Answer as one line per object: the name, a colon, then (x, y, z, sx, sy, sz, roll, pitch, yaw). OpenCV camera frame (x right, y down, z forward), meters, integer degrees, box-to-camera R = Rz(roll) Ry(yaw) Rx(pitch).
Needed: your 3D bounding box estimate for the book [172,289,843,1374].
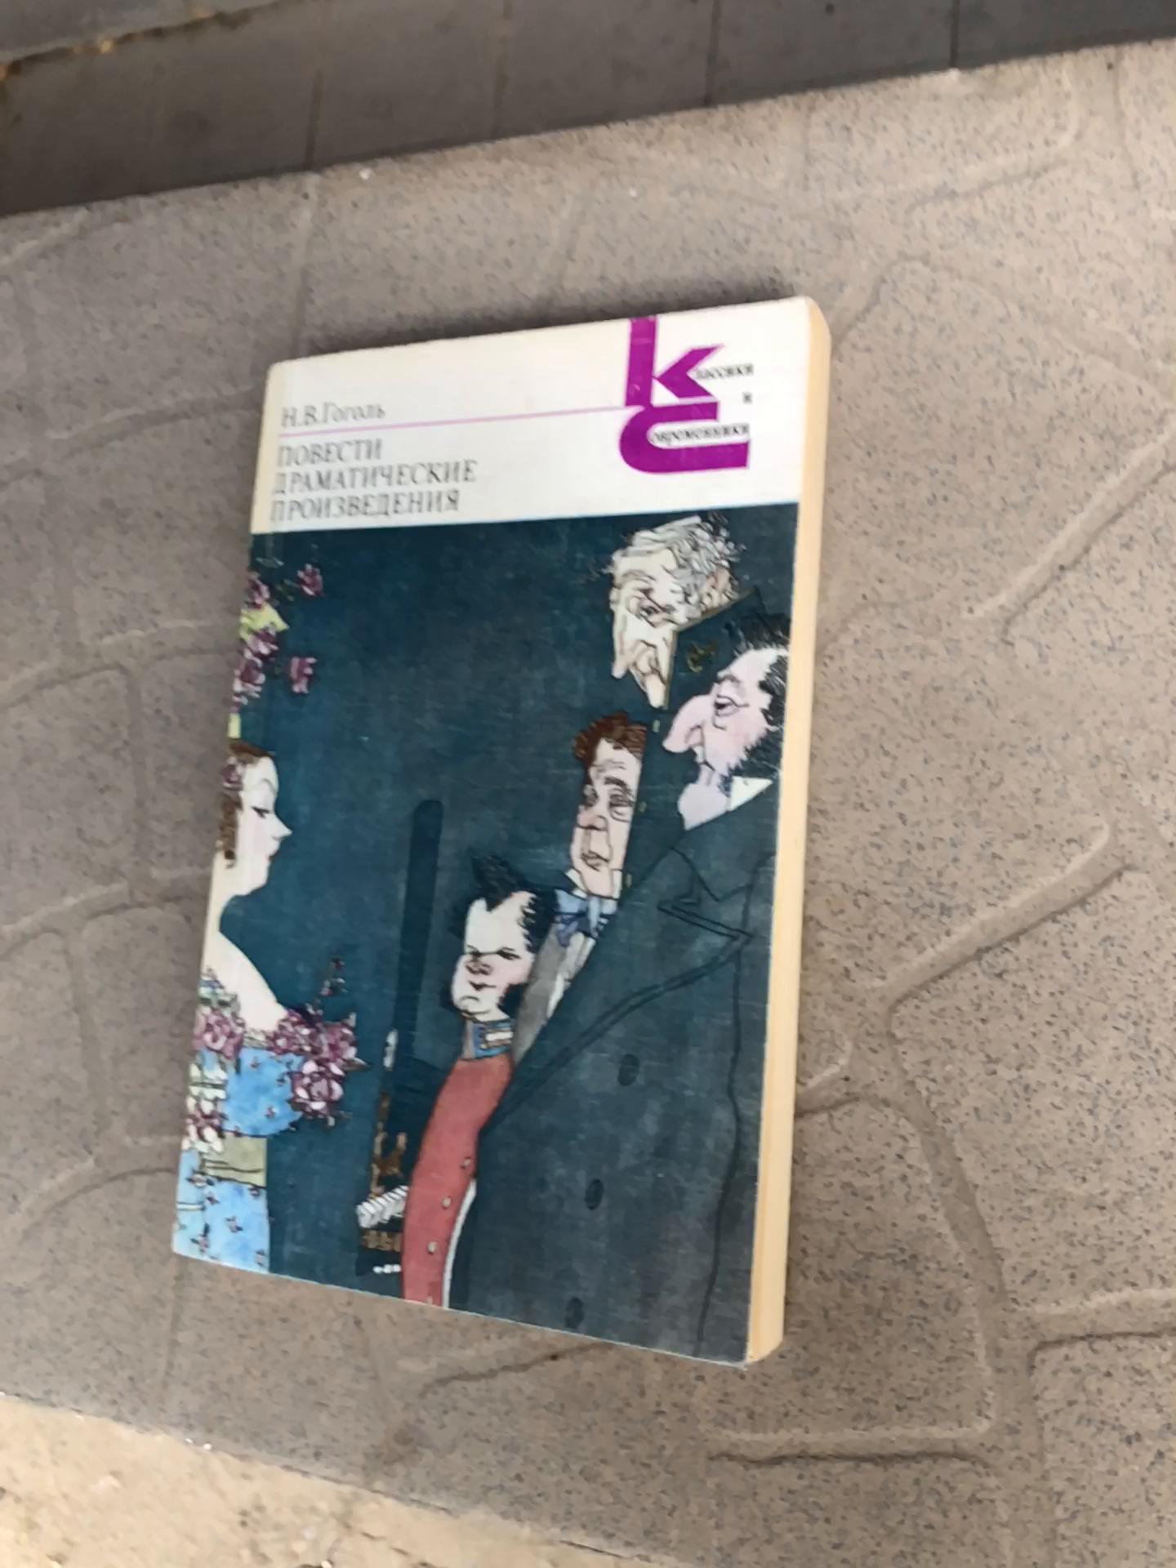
book: (-0.017, 0.004, 0.267, 0.124, 0.021, 0.193, 2, 83, 24)
